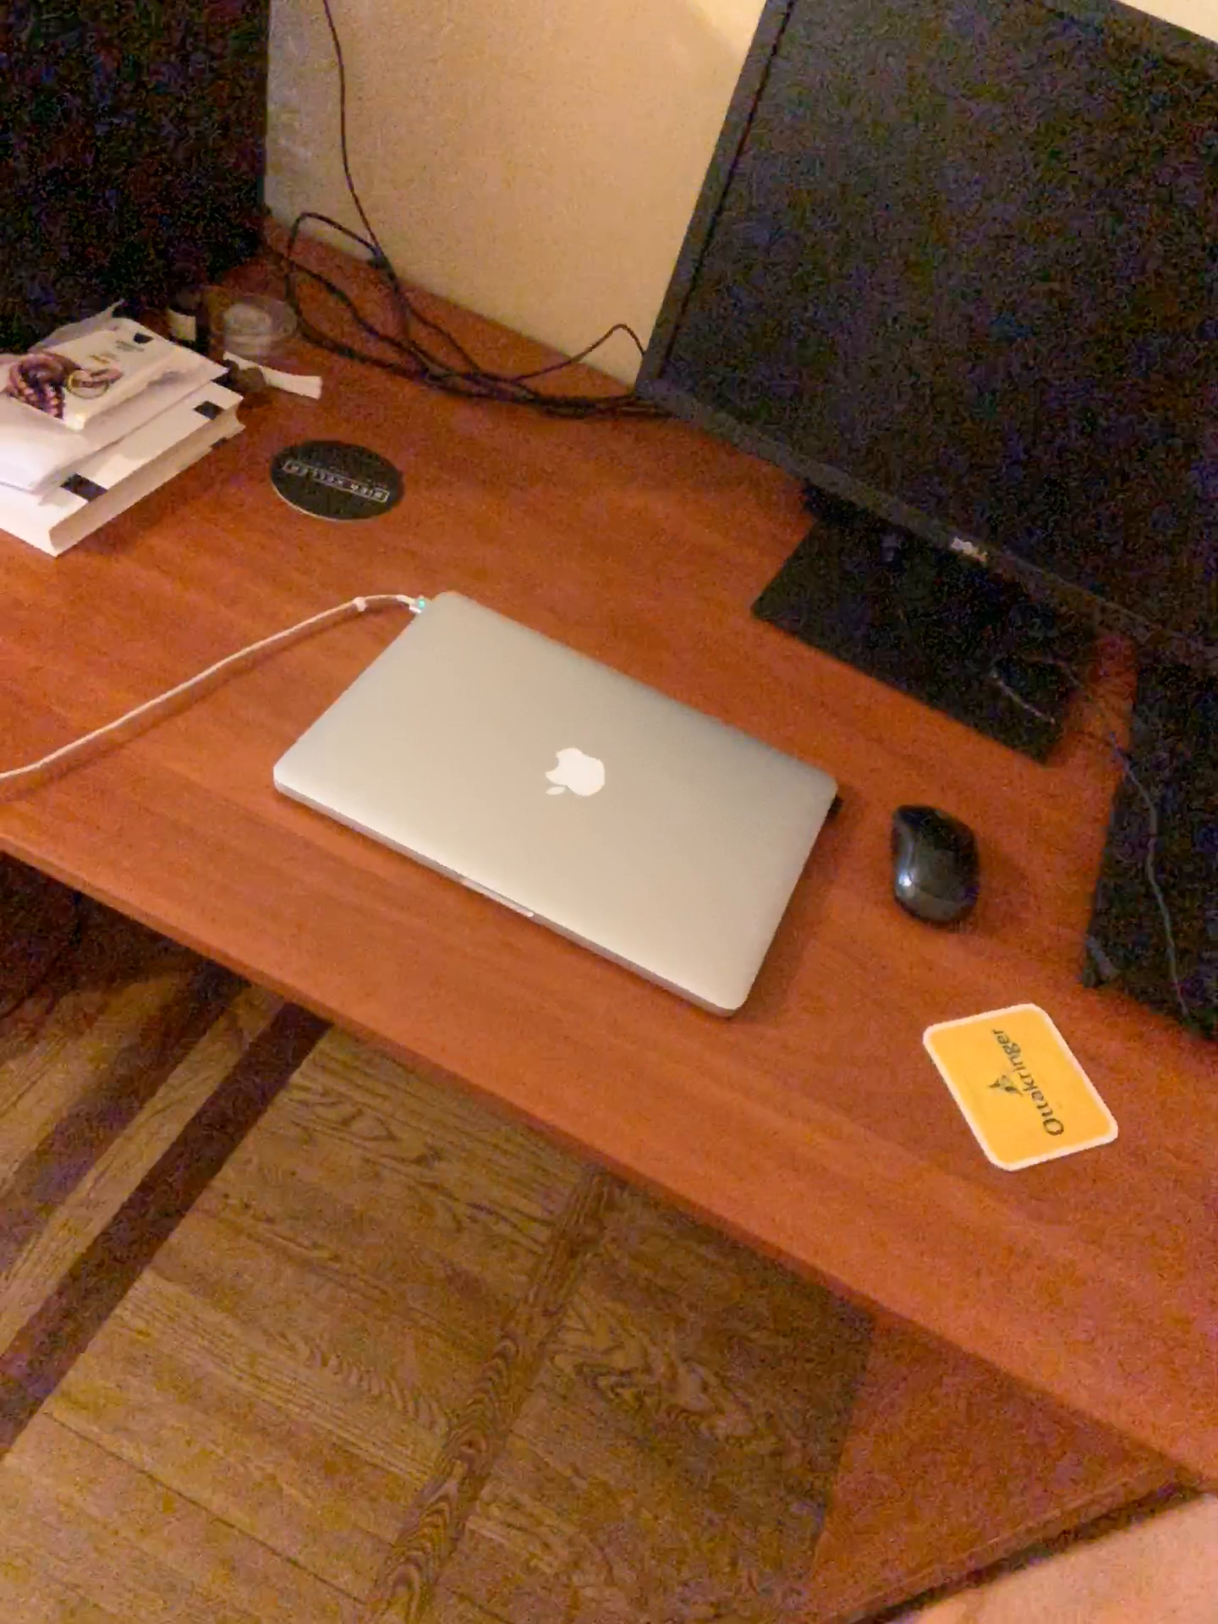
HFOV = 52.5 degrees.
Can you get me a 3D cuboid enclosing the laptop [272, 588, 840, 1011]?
[{"bbox_3d":[-0.021,-0.023,0.788,0.305,0.001,0.214,27,48,6],"label":"laptop"}]
